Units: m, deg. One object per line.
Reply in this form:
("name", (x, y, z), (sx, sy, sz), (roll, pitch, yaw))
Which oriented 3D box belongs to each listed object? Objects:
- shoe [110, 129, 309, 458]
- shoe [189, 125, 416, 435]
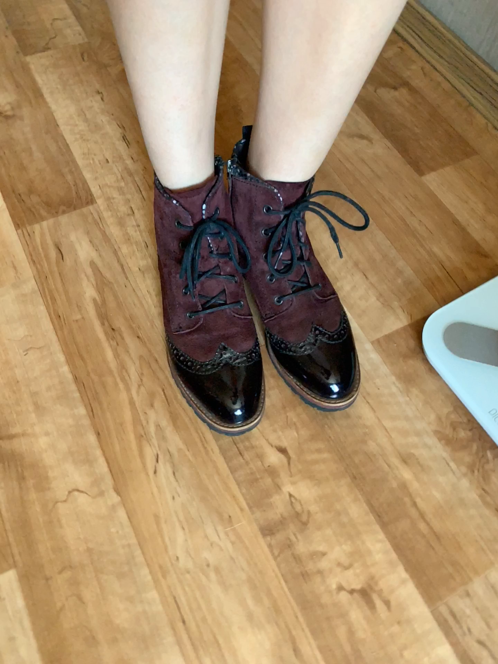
("shoe", (-0.047, -0.038, 0.478), (0.100, 0.140, 0.260), (-13, 63, -11))
("shoe", (0.033, -0.054, 0.510), (0.100, 0.140, 0.260), (-18, 64, -14))
